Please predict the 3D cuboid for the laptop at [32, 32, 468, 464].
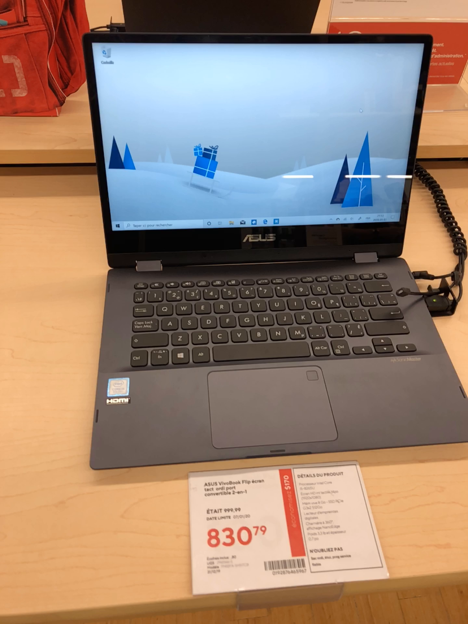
[{"bbox_3d":[0.037,-0.070,0.438,0.312,0.188,0.314,-2,50,-5],"label":"laptop"}]
